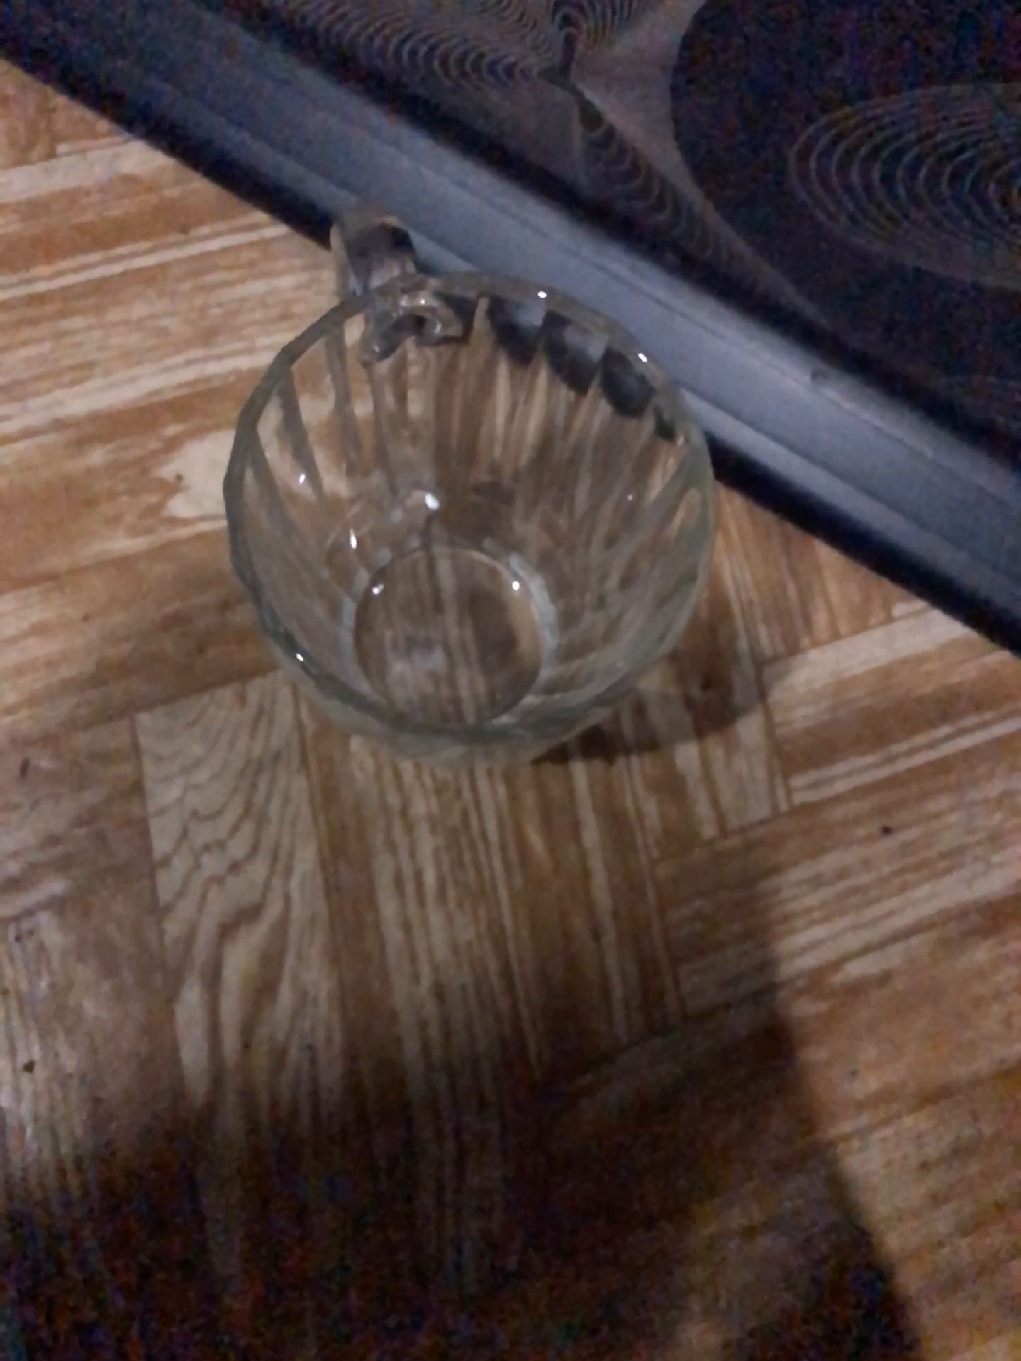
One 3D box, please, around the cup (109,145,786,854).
[{"bbox_3d":[-0.019,-0.034,0.278,0.113,0.107,0.126,-10,78,-8],"label":"cup"}]
